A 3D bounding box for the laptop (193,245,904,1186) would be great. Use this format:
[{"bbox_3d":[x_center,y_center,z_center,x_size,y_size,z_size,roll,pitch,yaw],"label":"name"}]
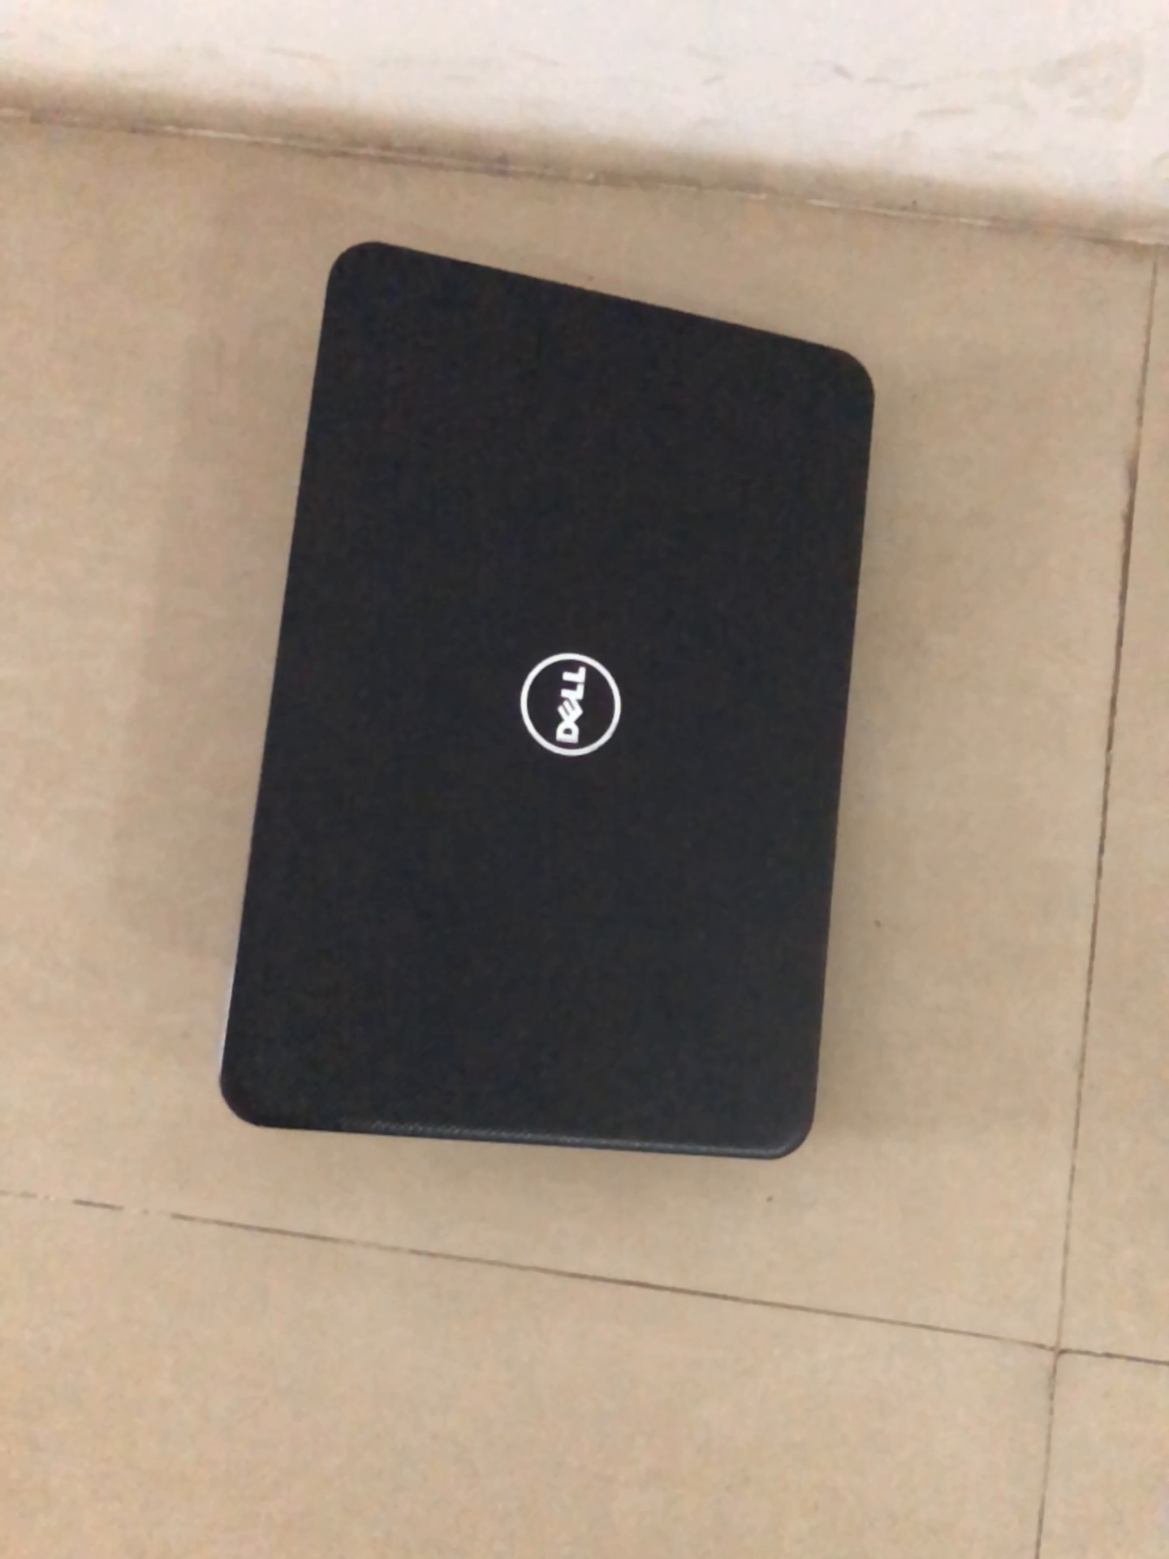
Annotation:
[{"bbox_3d":[-0.011,-0.031,0.555,0.247,0.078,0.357,6,85,4],"label":"laptop"}]
